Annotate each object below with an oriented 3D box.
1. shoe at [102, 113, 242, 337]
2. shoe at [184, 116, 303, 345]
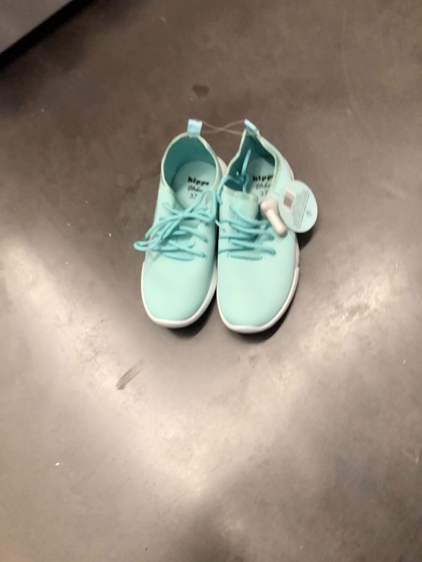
[{"bbox_3d":[-0.033,-0.065,0.534,0.100,0.100,0.231,5,70,12],"label":"shoe"},{"bbox_3d":[0.045,-0.056,0.519,0.100,0.100,0.231,3,69,11],"label":"shoe"}]
